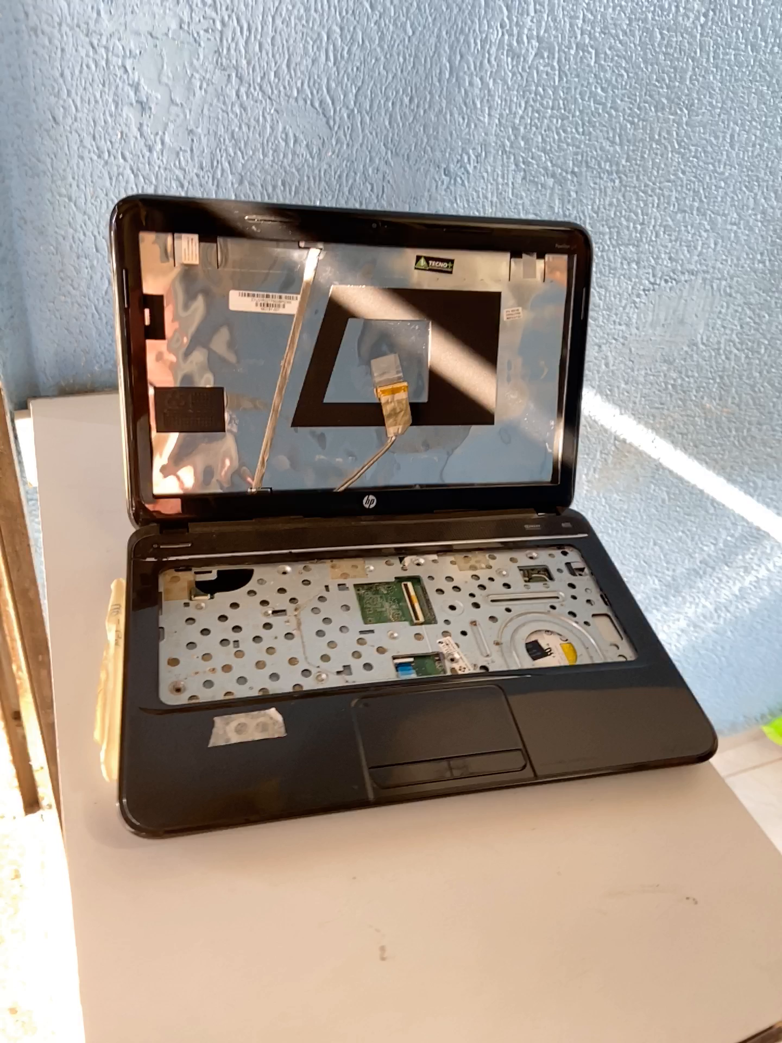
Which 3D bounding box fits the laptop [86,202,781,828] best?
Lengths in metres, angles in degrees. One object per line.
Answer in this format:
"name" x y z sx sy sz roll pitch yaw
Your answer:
"laptop" 0.009 -0.037 0.496 0.335 0.186 0.325 -3 39 -15
